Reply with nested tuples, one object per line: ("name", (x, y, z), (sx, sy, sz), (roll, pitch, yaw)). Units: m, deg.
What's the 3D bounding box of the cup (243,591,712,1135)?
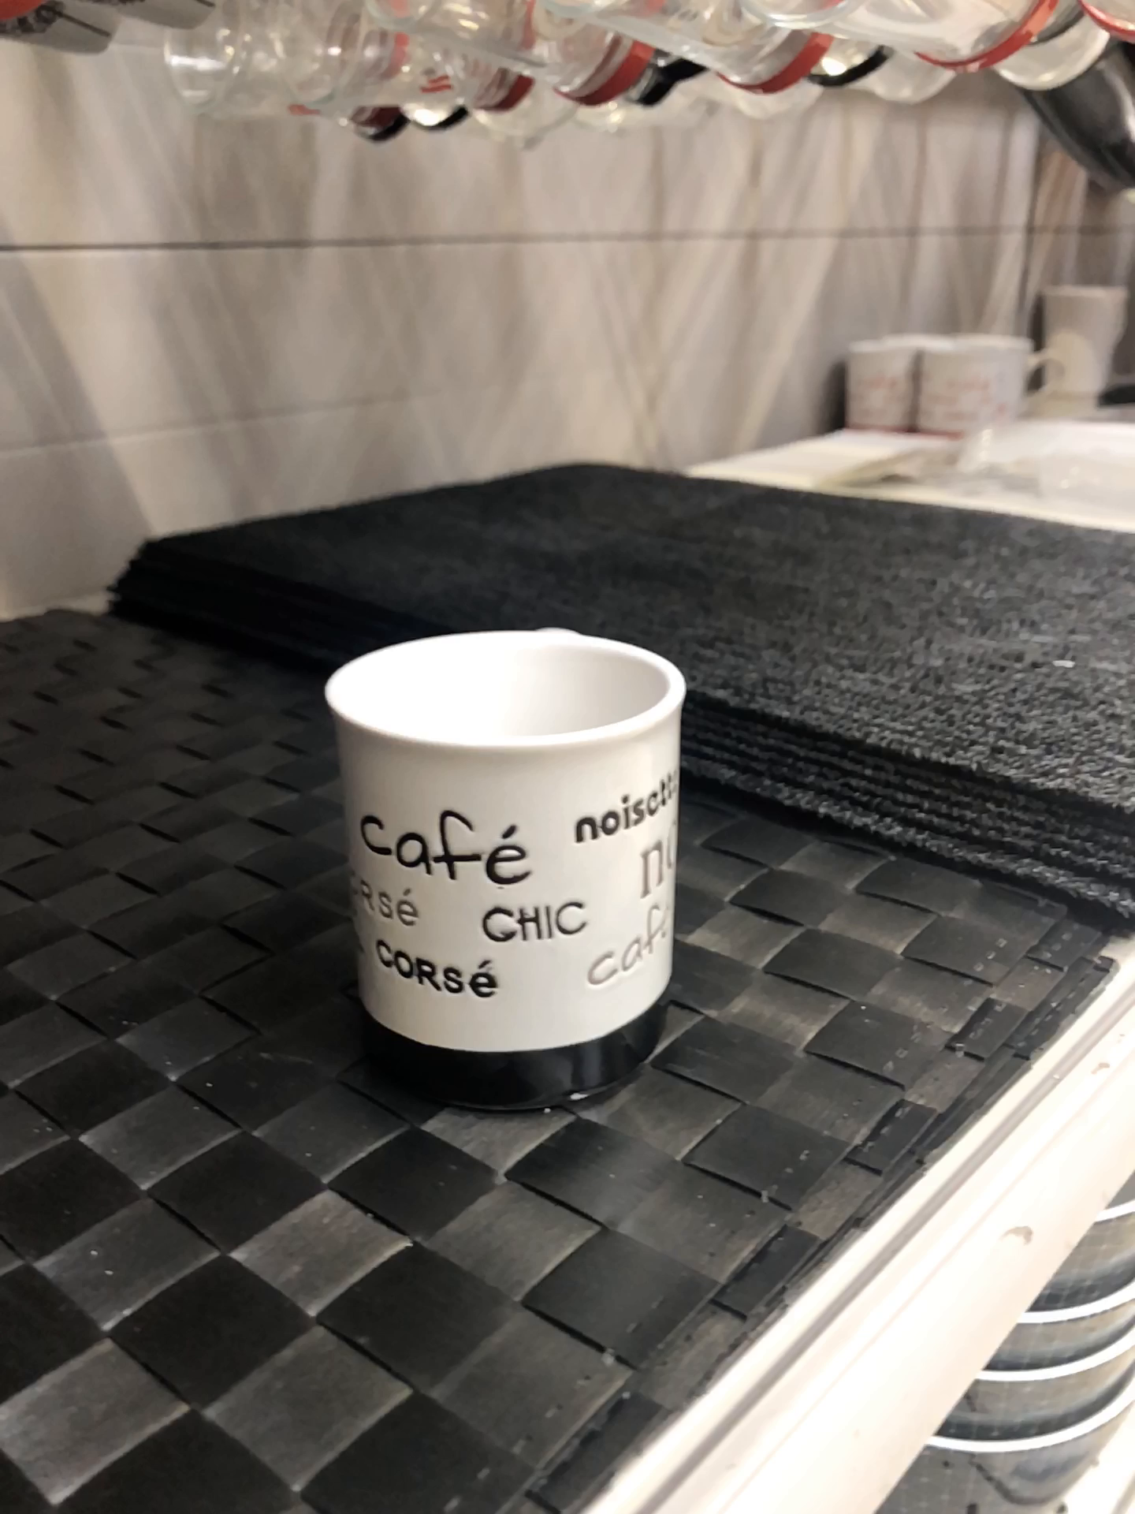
("cup", (-0.009, 0.013, 0.245), (0.067, 0.066, 0.093), (3, 22, 8))
